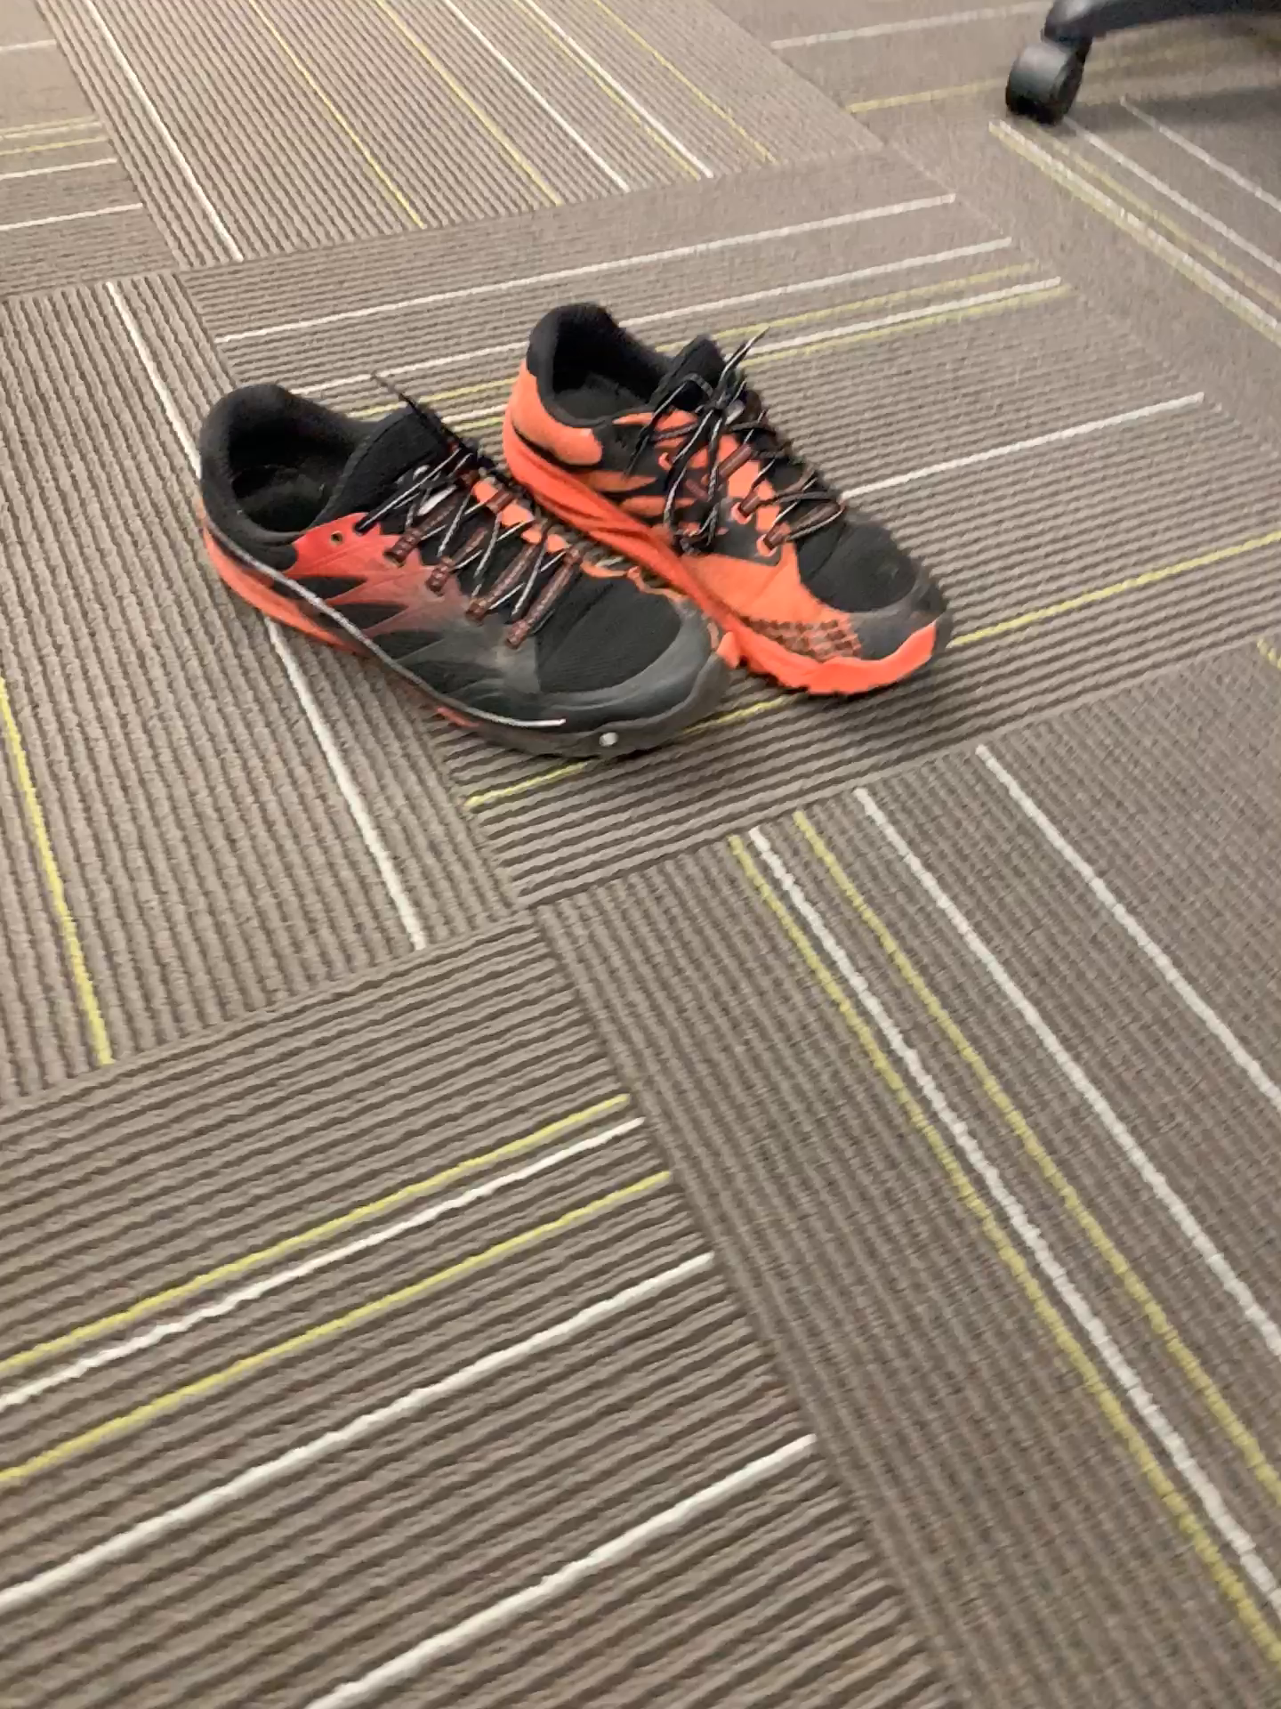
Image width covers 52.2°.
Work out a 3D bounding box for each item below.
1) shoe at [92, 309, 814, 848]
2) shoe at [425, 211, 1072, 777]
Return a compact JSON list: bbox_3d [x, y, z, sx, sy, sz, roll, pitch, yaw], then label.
[{"bbox_3d":[-0.090,-0.143,0.662,0.310,0.129,0.130,21,54,12],"label":"shoe"},{"bbox_3d":[0.044,-0.206,0.714,0.321,0.129,0.130,37,59,22],"label":"shoe"}]
